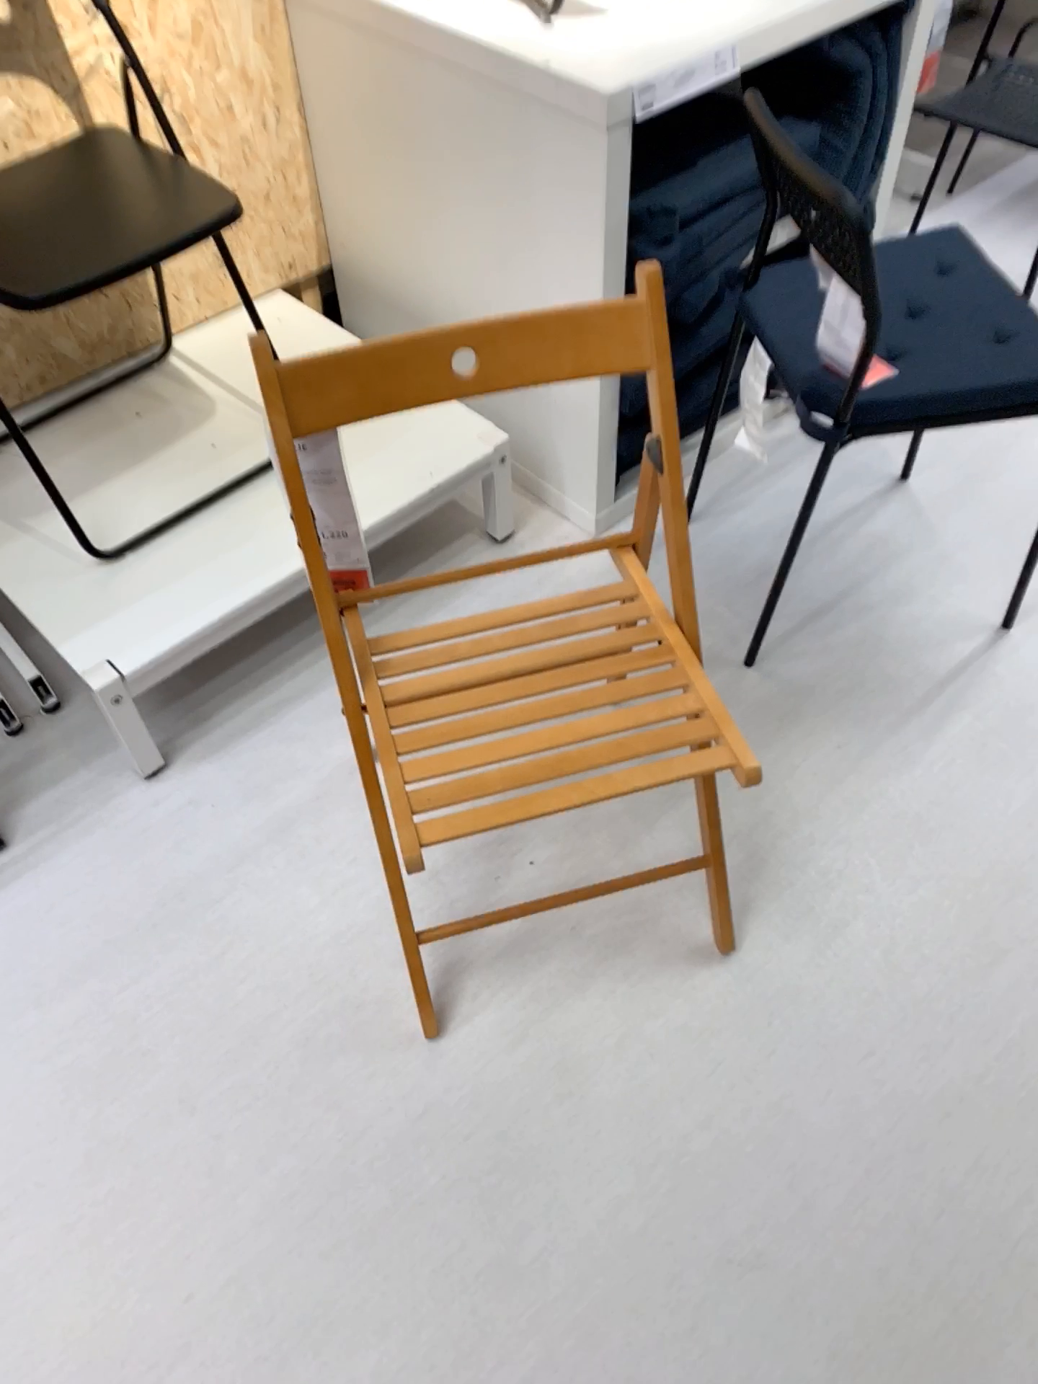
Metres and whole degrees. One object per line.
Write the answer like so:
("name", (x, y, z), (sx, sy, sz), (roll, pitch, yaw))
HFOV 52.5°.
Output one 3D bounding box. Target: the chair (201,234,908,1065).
("chair", (-0.001, -0.029, 1.242), (0.510, 0.698, 0.562), (-14, 51, -9))
